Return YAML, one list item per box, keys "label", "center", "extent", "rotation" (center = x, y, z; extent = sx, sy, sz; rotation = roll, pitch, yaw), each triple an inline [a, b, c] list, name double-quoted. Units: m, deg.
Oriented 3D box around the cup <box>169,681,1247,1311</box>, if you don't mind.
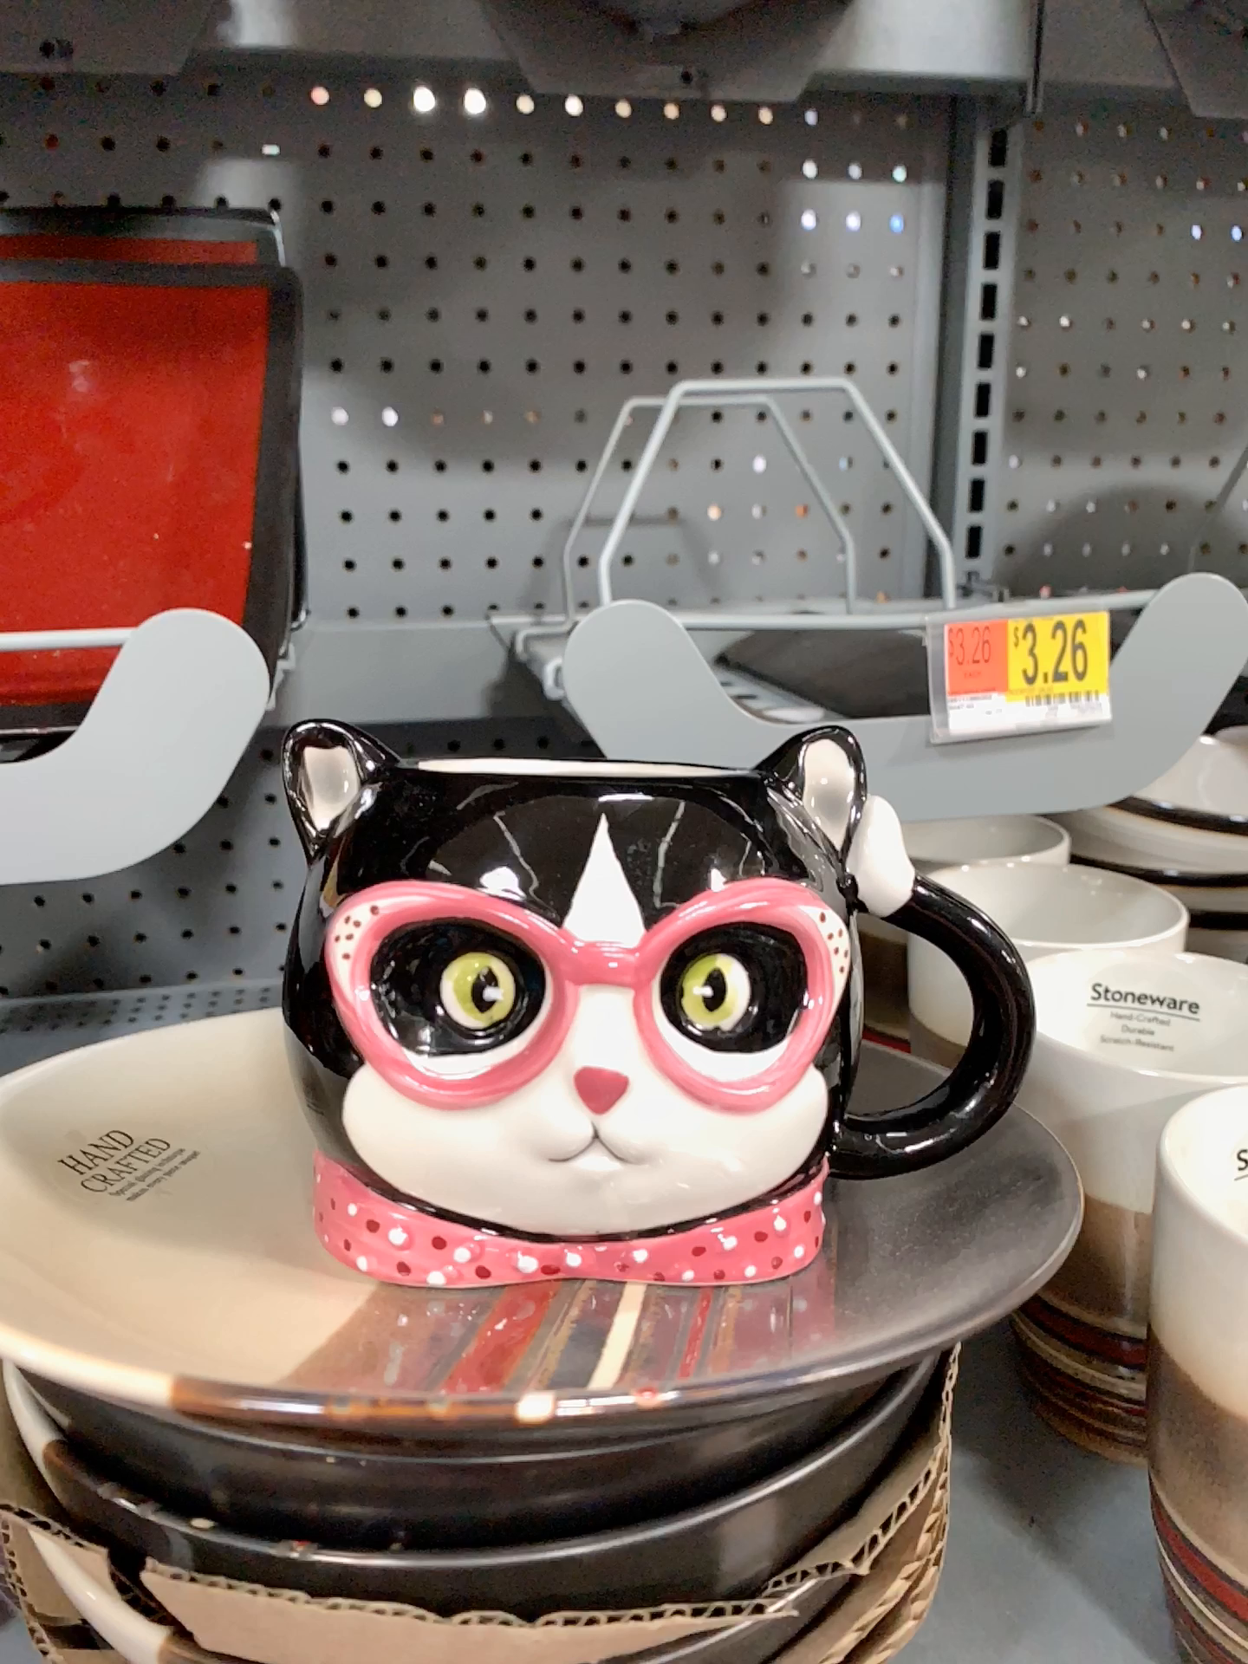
- label: "cup"
  center: [0.011, 0.019, 0.227]
  extent: [0.144, 0.074, 0.096]
  rotation: [-1, 15, -3]
